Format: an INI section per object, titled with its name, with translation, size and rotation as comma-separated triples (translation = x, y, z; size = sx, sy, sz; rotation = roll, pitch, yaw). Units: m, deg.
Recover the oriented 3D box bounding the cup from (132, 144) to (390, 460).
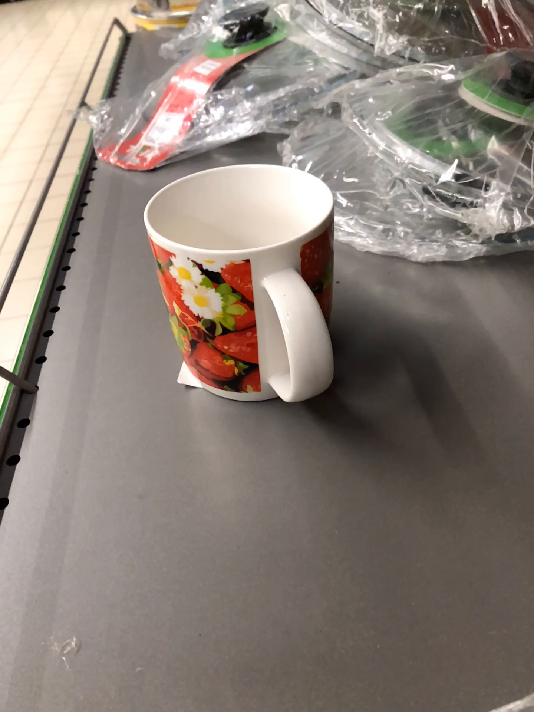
[cup]
translation = -0.008, -0.034, 0.286
size = 0.090, 0.078, 0.129
rotation = -13, 40, -5
